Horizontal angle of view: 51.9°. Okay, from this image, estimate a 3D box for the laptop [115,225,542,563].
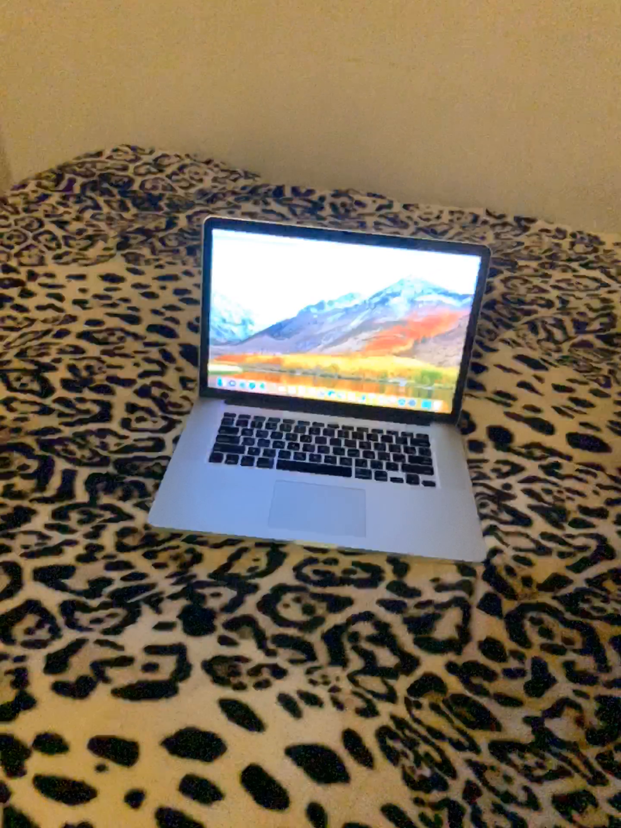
[{"bbox_3d":[0.018,-0.037,0.712,0.348,0.222,0.301,6,36,1],"label":"laptop"}]
